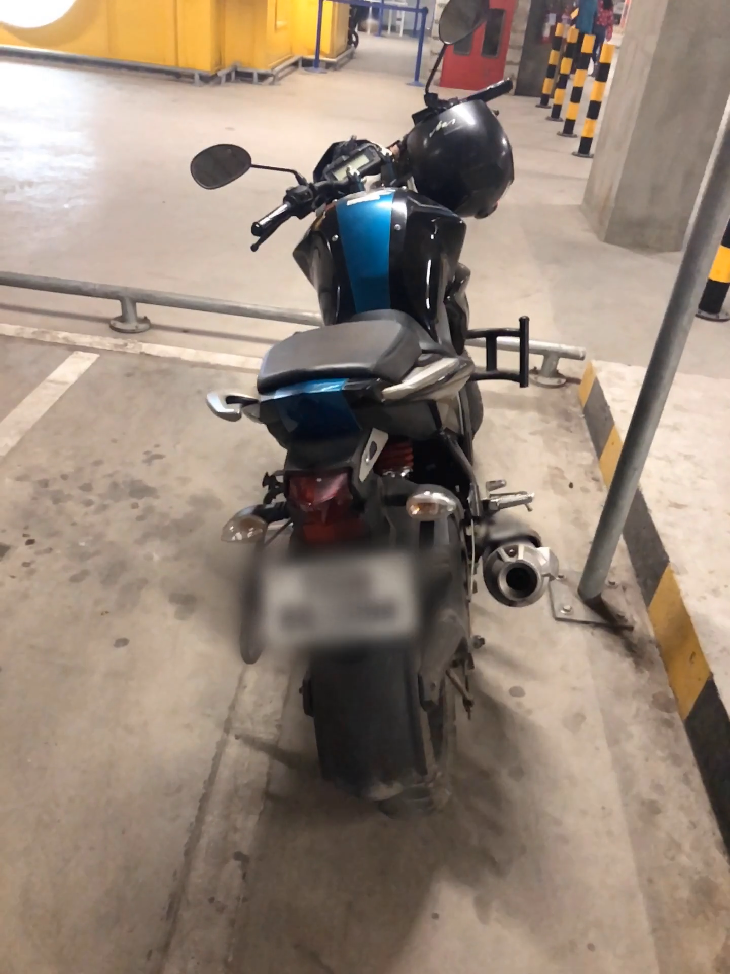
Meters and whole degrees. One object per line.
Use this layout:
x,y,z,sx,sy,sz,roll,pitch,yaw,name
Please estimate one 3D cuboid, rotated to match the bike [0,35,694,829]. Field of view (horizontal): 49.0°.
-0.112,-0.280,1.634,0.766,0.950,1.422,5,33,-3,bike
